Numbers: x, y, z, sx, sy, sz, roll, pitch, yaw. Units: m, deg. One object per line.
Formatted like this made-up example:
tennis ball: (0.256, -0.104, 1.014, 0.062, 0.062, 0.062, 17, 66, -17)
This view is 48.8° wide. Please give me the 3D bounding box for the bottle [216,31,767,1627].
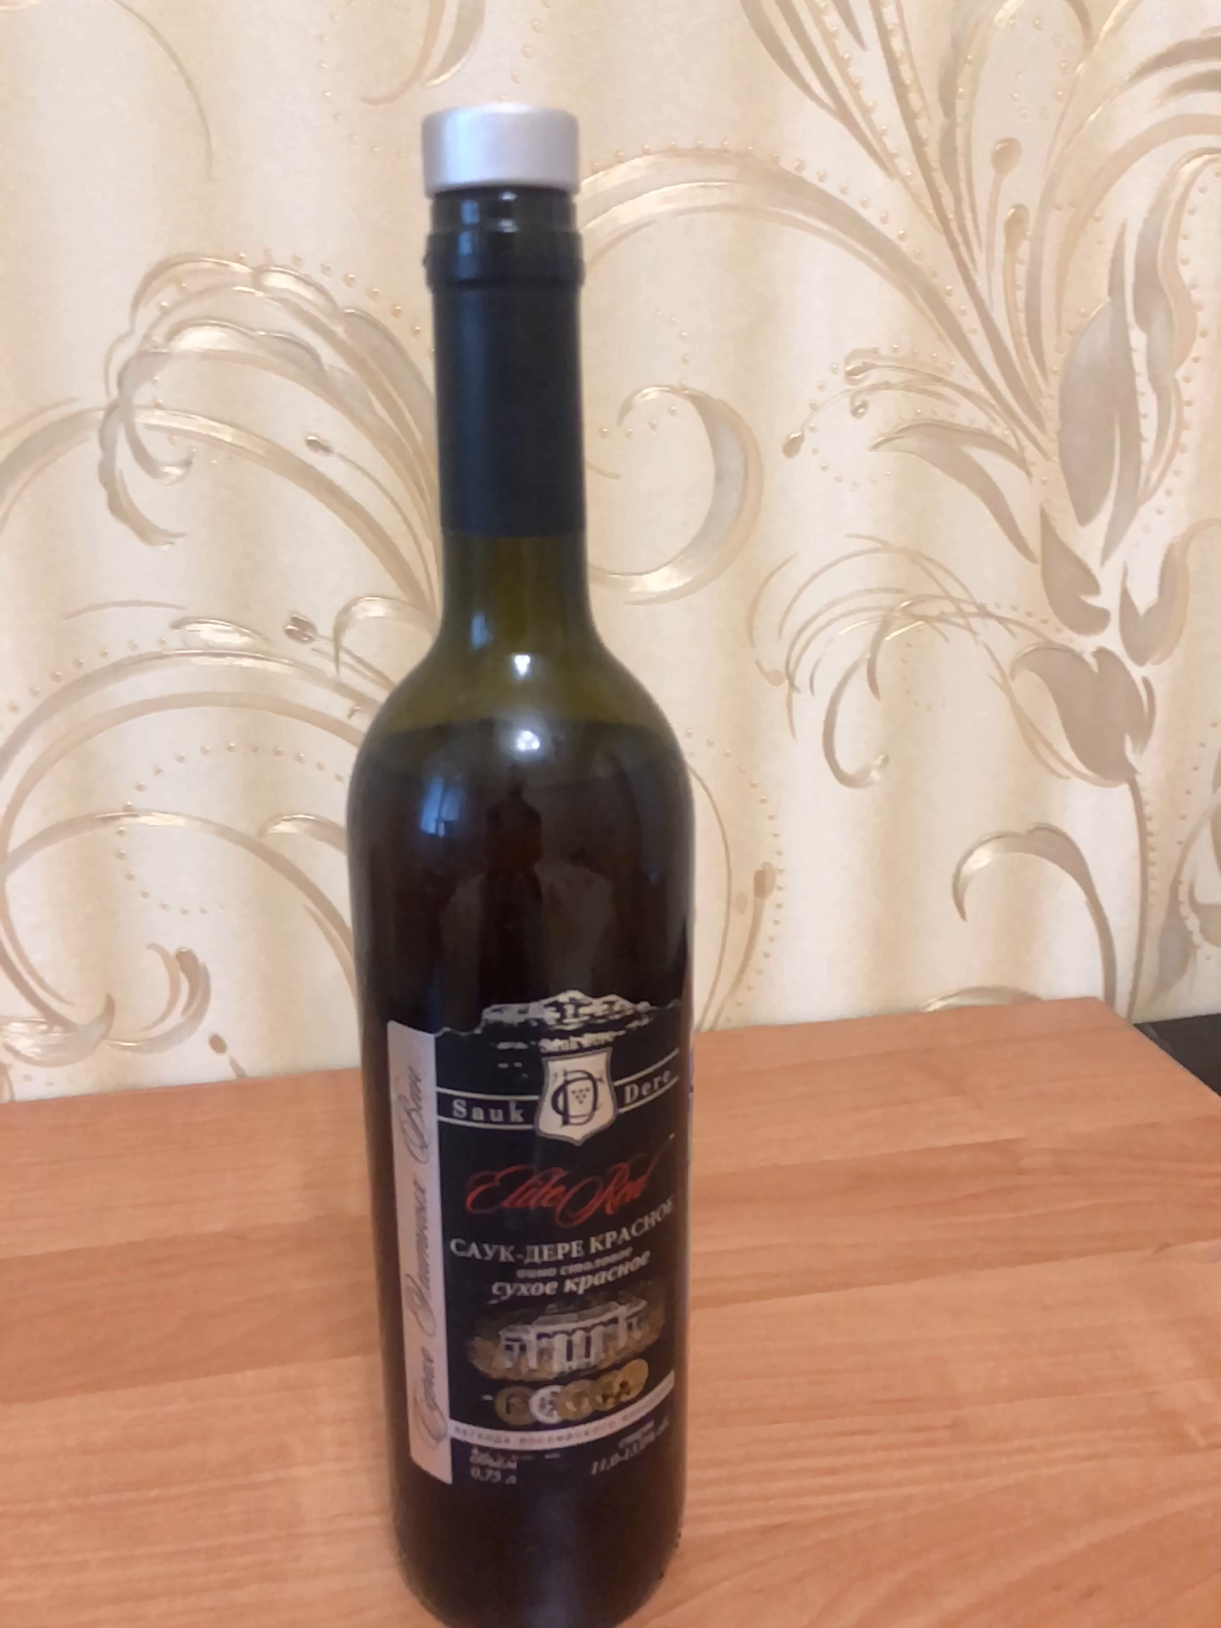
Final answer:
bottle: (-0.020, 0.024, 0.287, 0.083, 0.322, 0.074, -3, 18, -8)
